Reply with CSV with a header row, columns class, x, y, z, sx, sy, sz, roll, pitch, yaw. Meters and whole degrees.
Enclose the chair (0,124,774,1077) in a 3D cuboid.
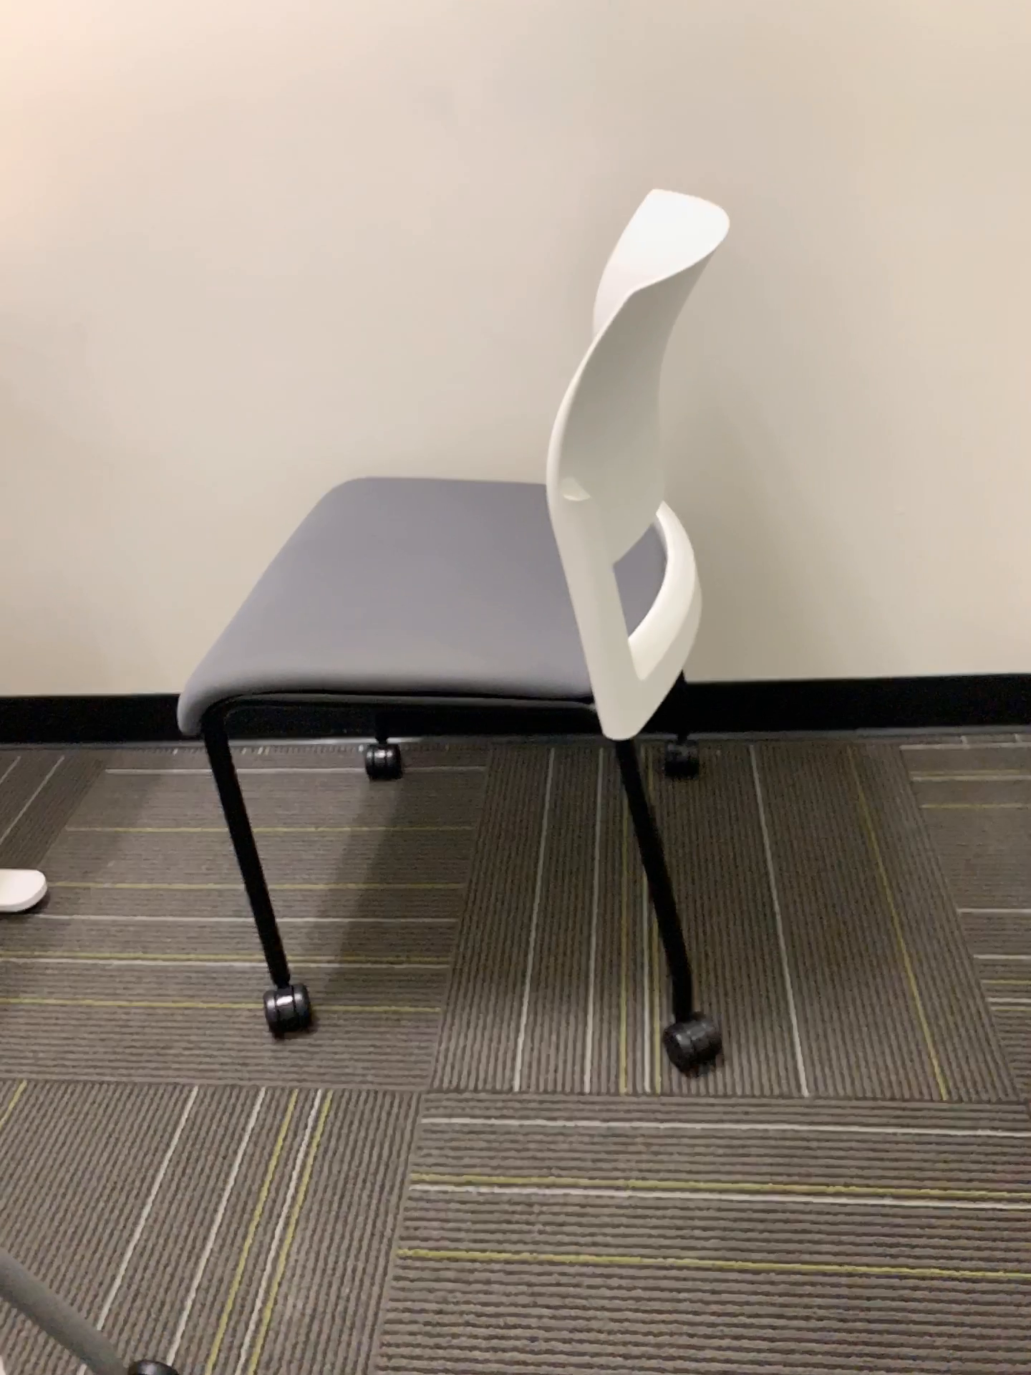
class,x,y,z,sx,sy,sz,roll,pitch,yaw
chair,-0.043,-0.108,1.156,0.540,0.805,0.603,0,32,8
